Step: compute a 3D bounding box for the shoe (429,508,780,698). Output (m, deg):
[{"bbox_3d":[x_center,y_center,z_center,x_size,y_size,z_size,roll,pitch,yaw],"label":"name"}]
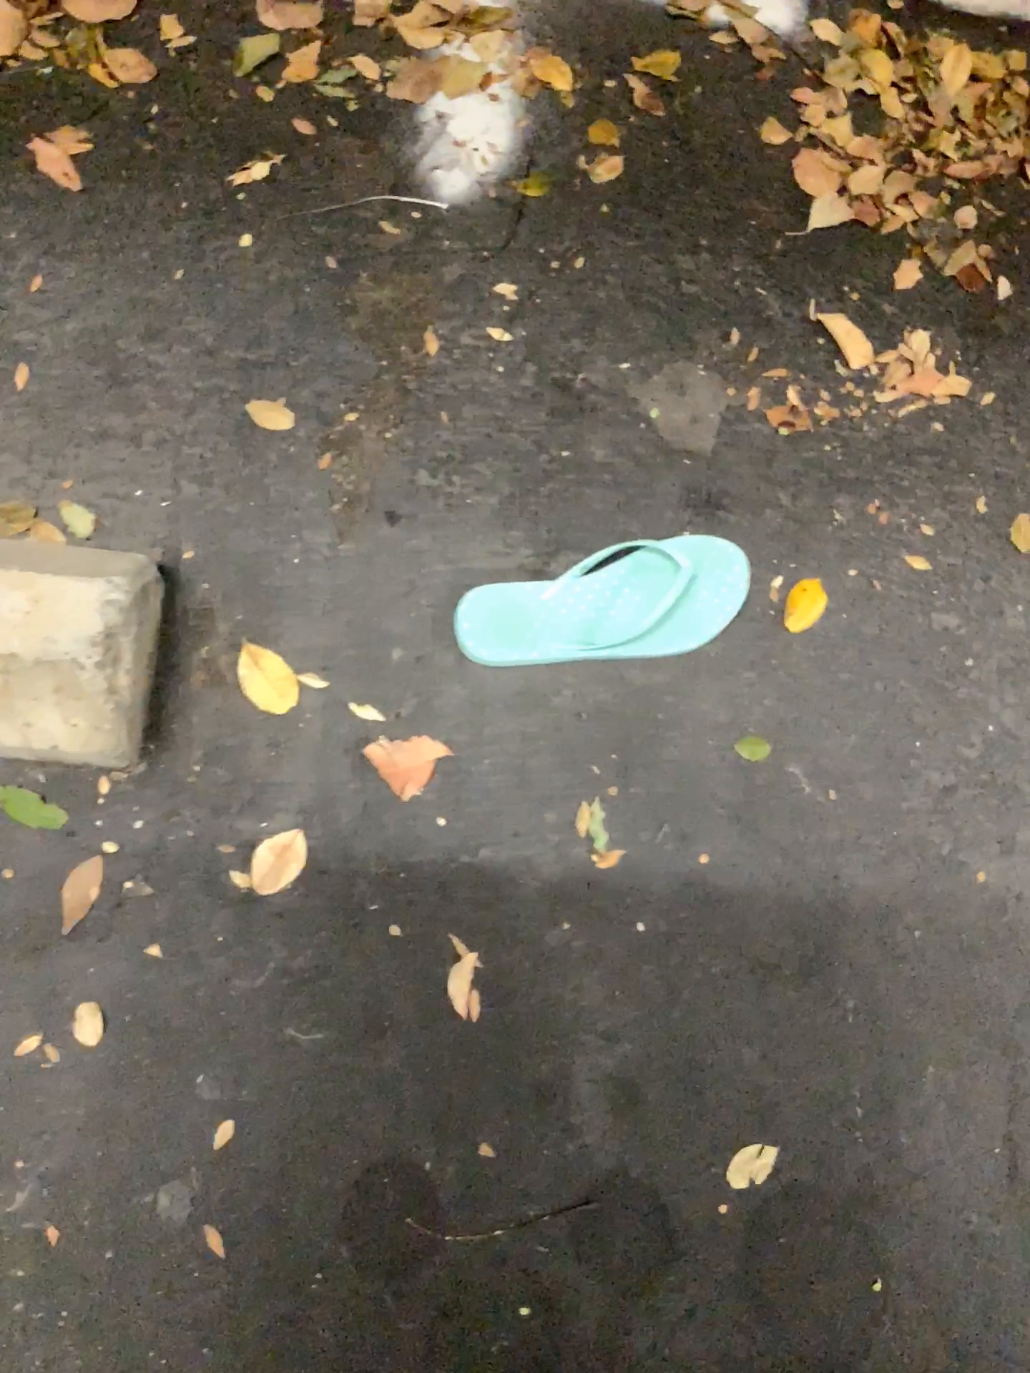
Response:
[{"bbox_3d":[0.075,-0.074,0.983,0.280,0.050,0.120,-8,72,-10],"label":"shoe"}]
